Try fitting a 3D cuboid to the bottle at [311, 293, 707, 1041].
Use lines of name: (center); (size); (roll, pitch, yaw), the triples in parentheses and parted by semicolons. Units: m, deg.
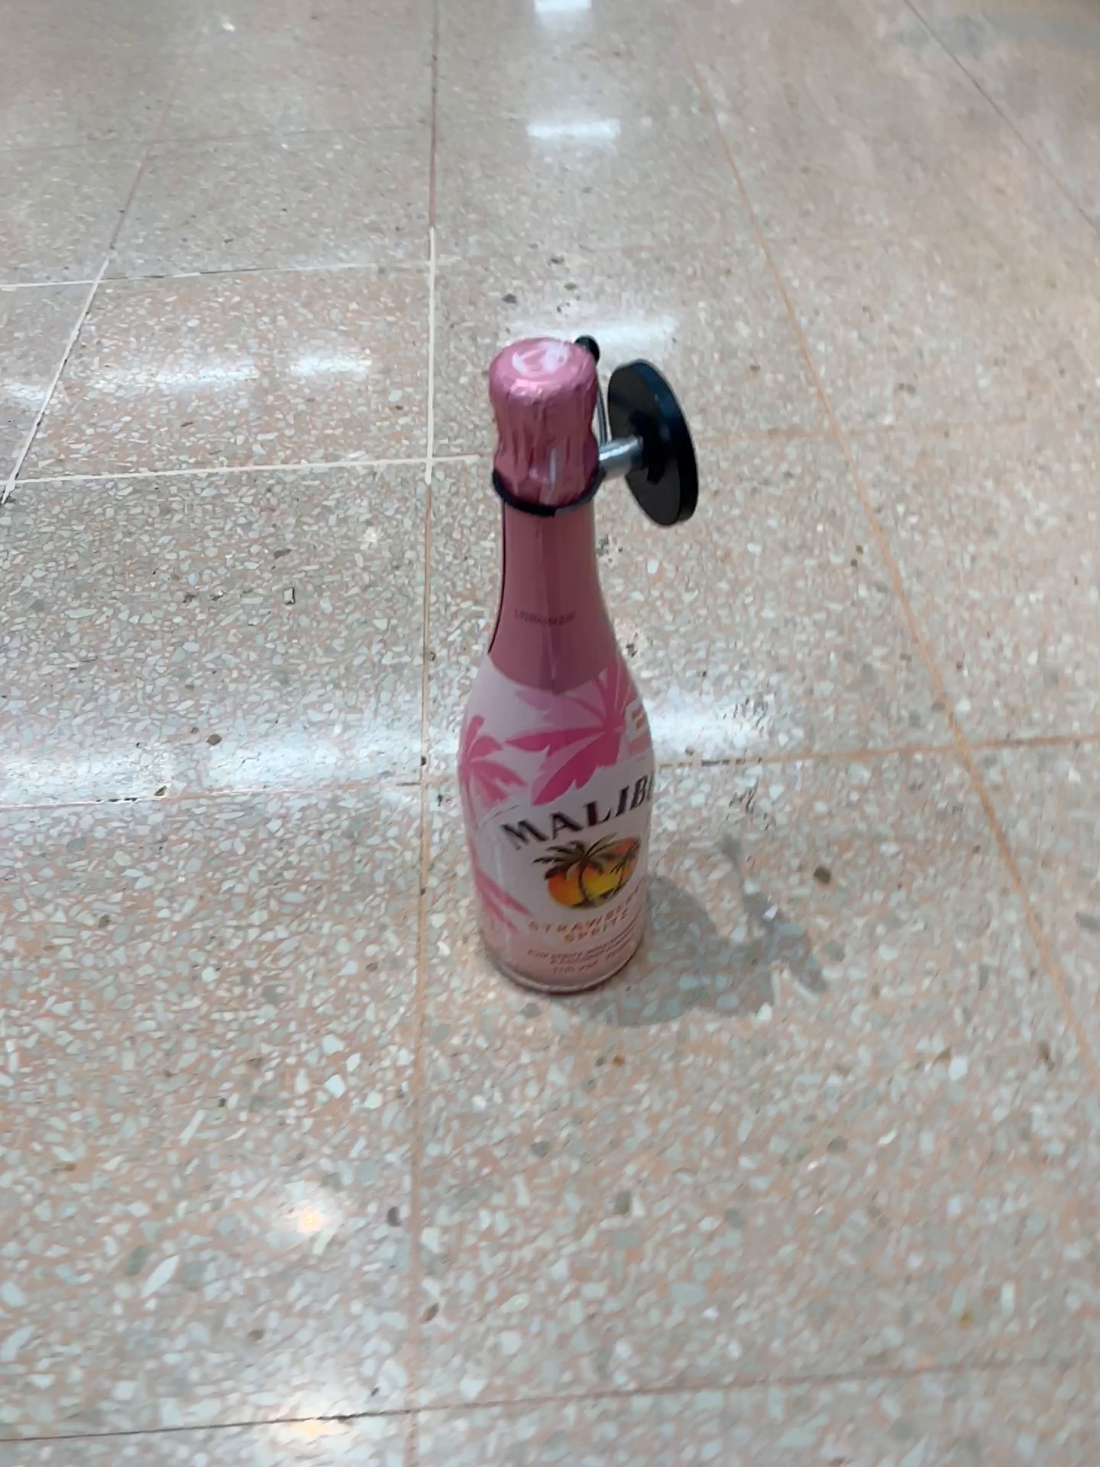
bottle: (-0.008, -0.002, 0.425); (0.080, 0.286, 0.080); (-1, 49, 1)
